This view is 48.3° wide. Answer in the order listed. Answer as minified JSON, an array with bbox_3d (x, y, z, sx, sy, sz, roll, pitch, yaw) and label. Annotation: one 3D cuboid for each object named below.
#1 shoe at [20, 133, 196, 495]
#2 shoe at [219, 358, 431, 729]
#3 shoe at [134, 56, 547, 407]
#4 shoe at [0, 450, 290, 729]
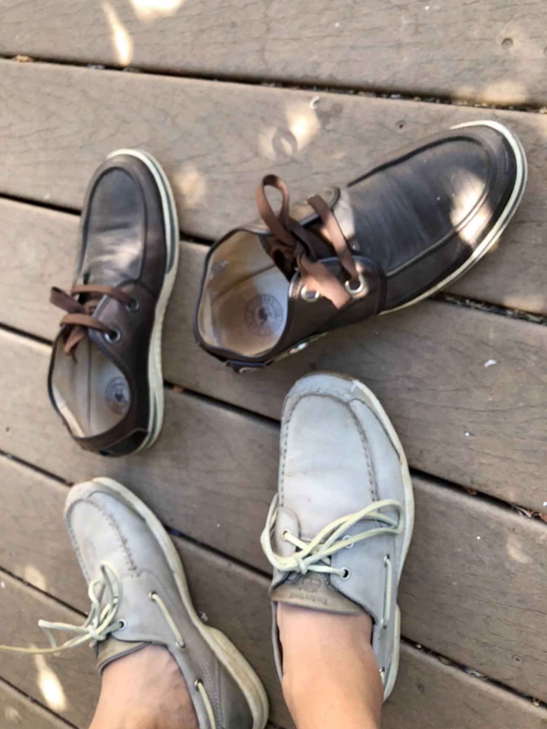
[{"bbox_3d":[-0.146,-0.043,0.525,0.109,0.069,0.279,13,104,23],"label":"shoe"},{"bbox_3d":[0.045,0.148,0.460,0.110,0.101,0.293,-3,96,25],"label":"shoe"},{"bbox_3d":[0.044,-0.076,0.437,0.277,0.079,0.109,-25,85,26],"label":"shoe"},{"bbox_3d":[-0.124,0.237,0.546,0.110,0.086,0.292,-38,80,24],"label":"shoe"}]
